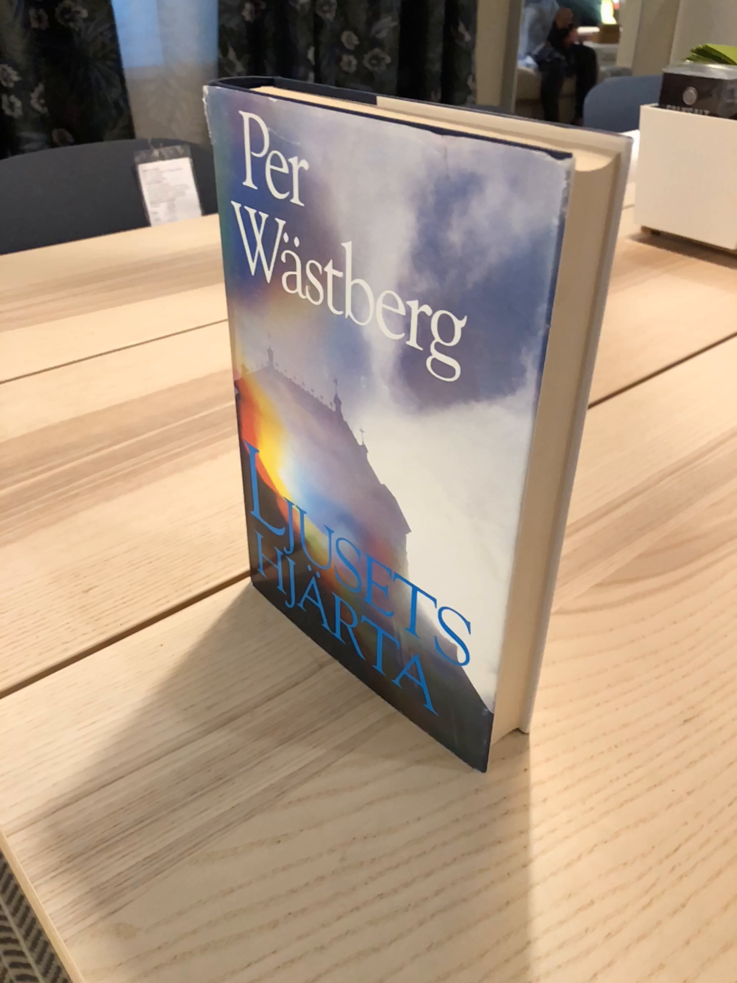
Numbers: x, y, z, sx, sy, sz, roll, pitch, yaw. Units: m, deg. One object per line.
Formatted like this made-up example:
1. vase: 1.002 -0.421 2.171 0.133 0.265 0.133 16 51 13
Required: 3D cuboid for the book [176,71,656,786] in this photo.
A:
1. book: 0.001 -0.026 0.309 0.042 0.221 0.167 -25 41 -34
